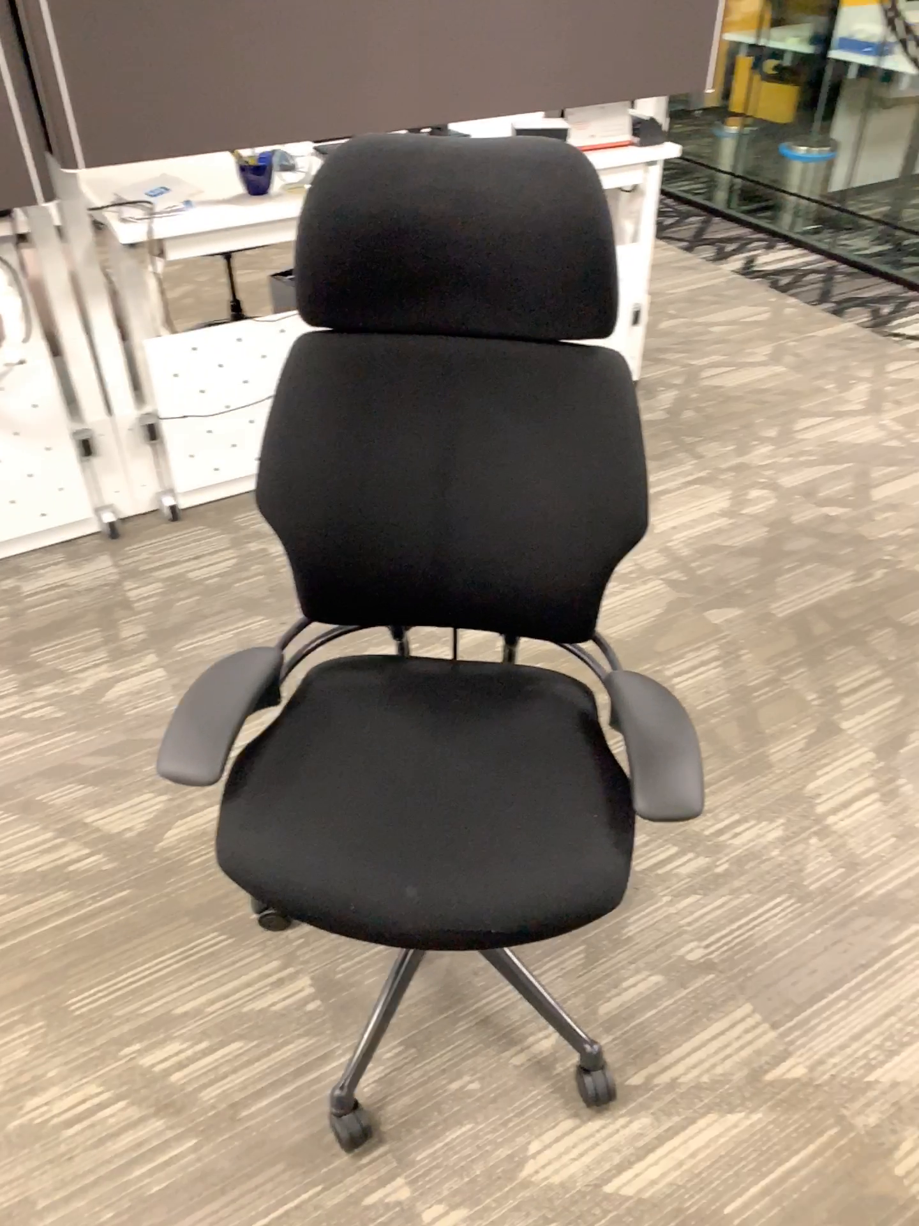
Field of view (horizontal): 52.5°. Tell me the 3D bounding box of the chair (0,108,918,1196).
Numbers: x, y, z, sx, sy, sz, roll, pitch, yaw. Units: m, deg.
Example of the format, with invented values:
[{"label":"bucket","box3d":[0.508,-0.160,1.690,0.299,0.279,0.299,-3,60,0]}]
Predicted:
[{"label":"chair","box3d":[-0.023,0.051,1.183,0.690,1.090,0.777,3,38,5]}]
